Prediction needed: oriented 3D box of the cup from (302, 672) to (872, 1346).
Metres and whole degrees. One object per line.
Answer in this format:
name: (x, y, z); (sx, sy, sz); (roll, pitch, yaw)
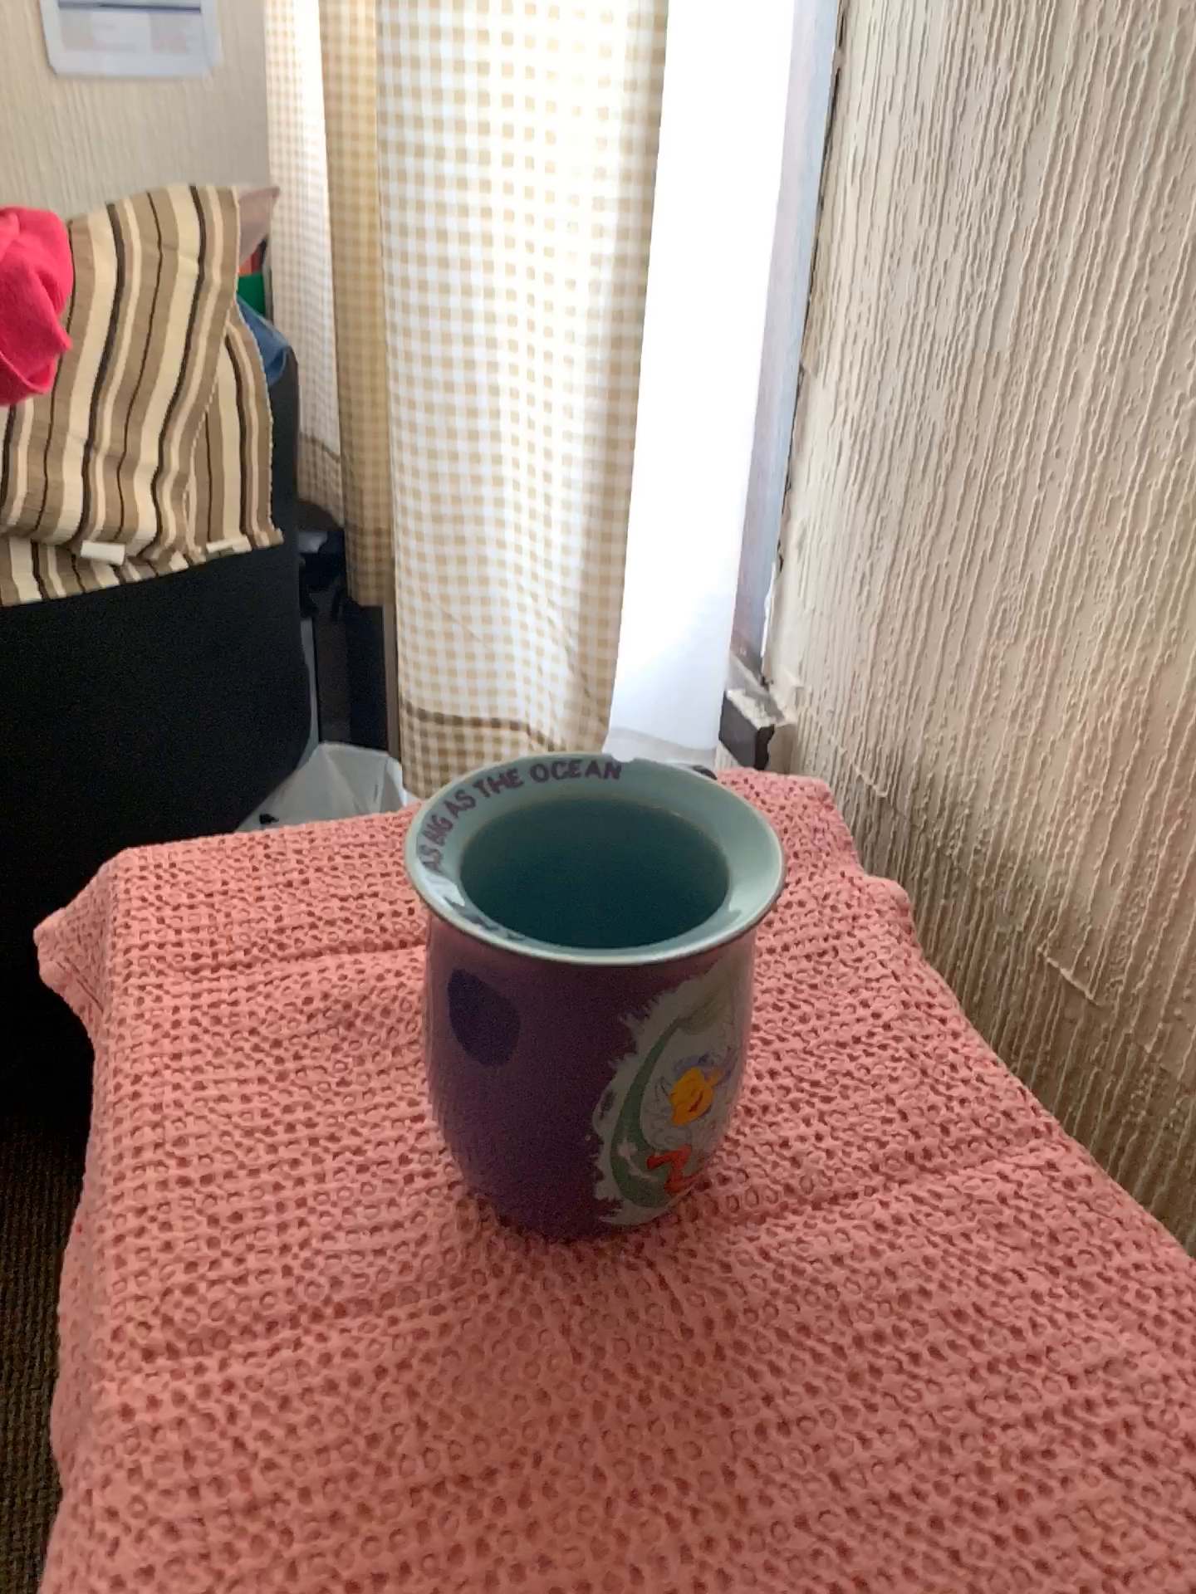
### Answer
cup: (0.004, 0.047, 0.348); (0.100, 0.099, 0.141); (15, 33, 20)
